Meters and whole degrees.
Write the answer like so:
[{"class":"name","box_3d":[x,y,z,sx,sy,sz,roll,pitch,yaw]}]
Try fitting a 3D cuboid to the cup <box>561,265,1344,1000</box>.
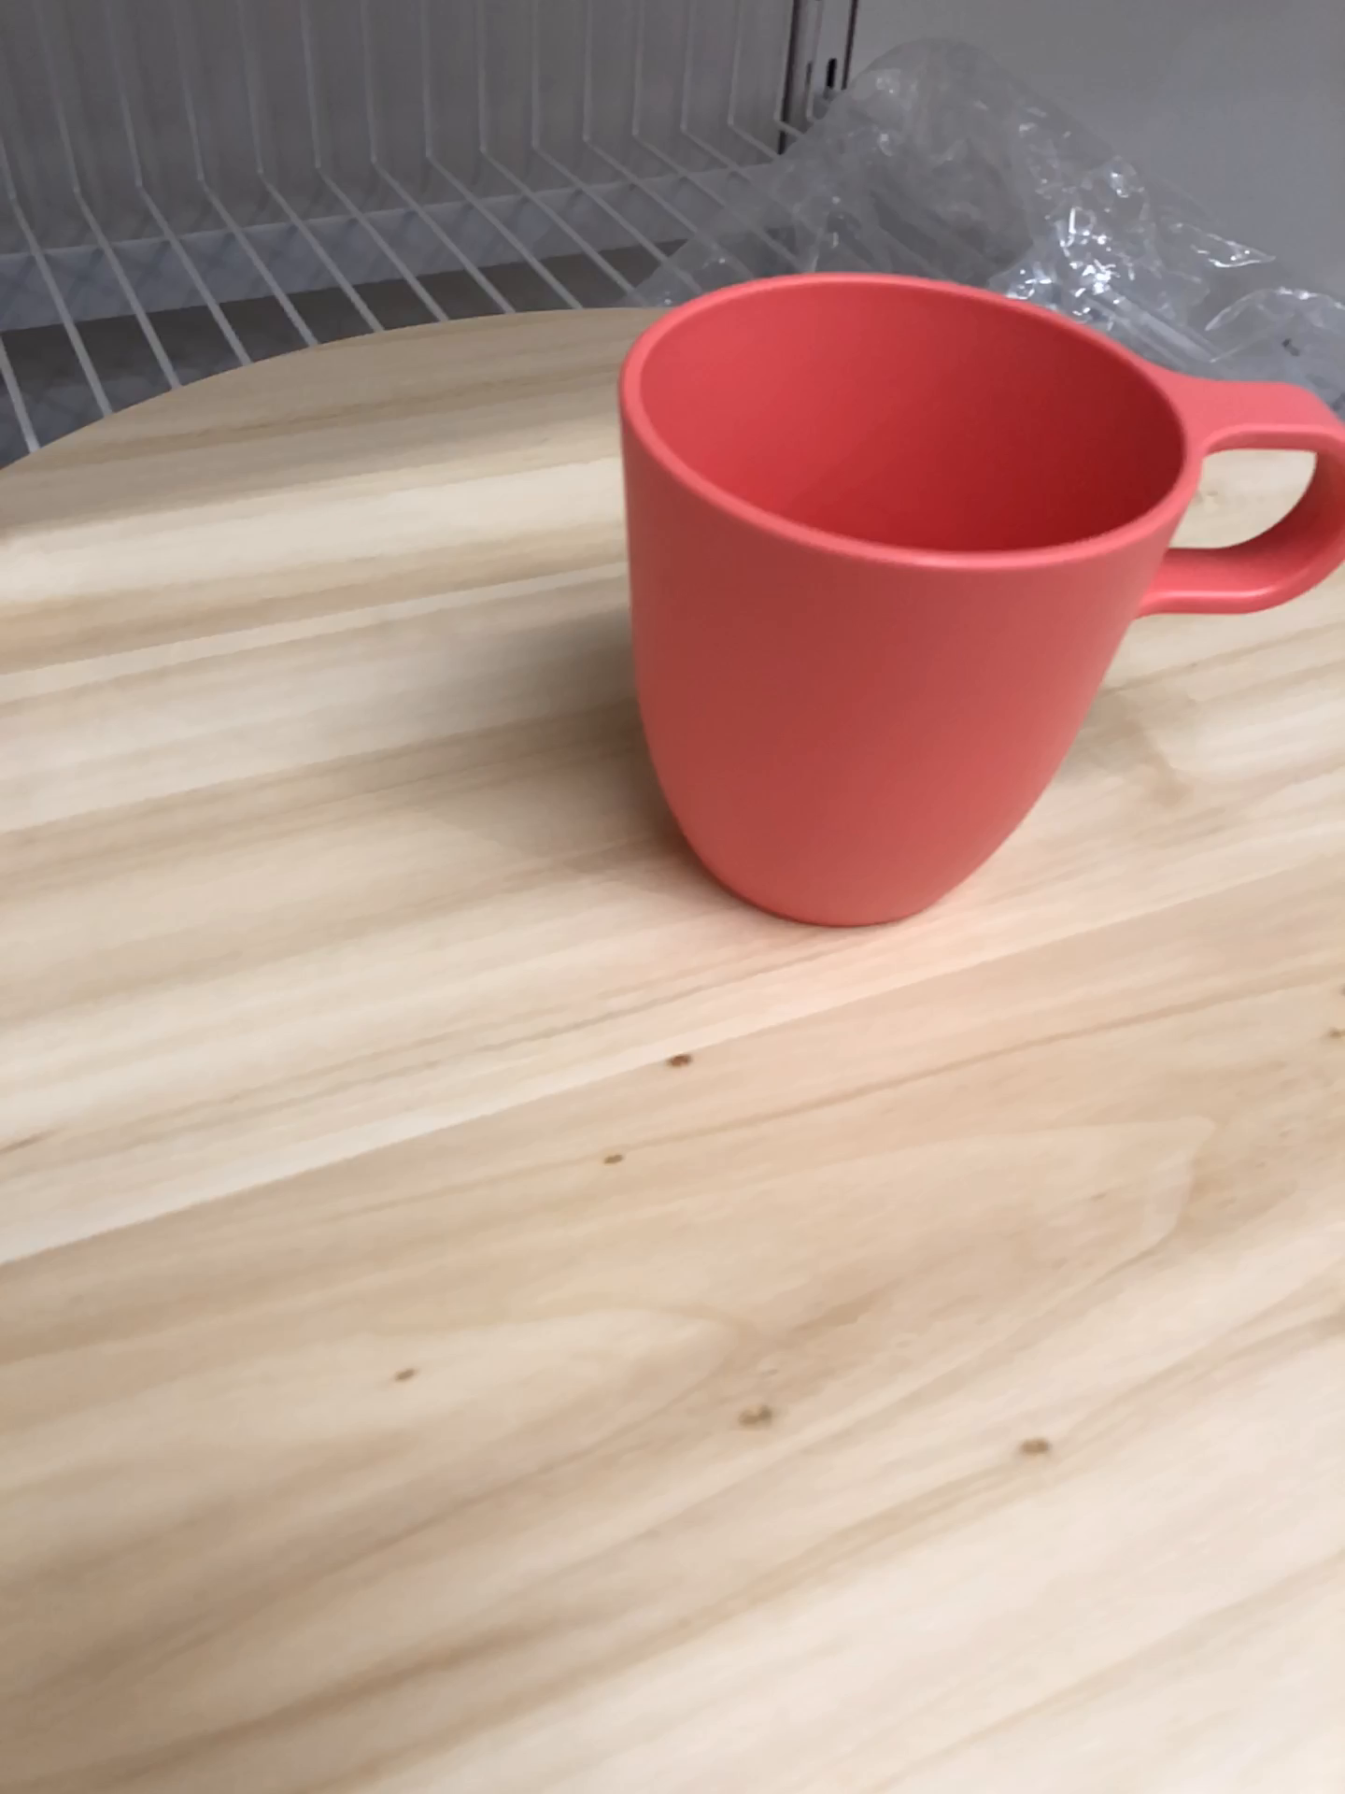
[{"class":"cup","box_3d":[0.041,-0.044,0.239,0.110,0.080,0.080,-4,44,-8]}]
